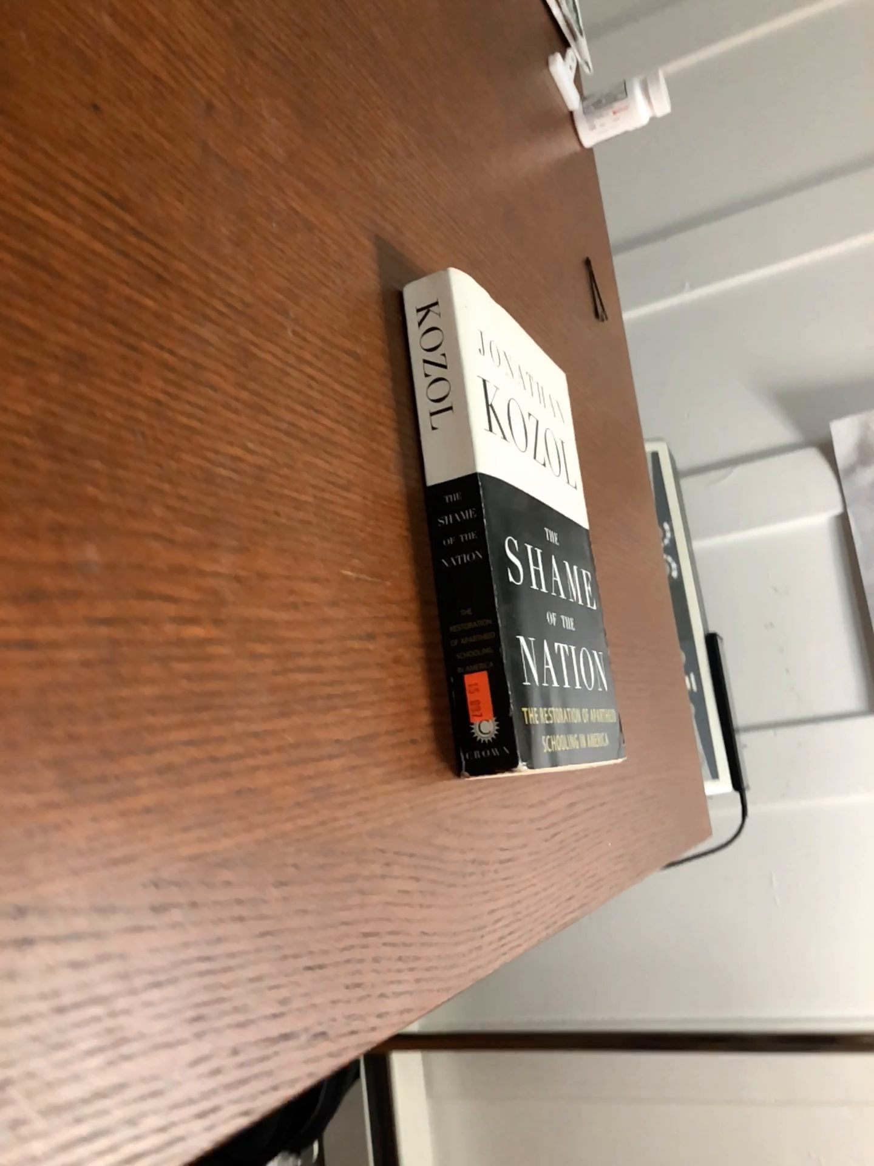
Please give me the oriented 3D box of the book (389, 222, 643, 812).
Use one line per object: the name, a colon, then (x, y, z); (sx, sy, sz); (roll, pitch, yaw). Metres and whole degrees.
book: (0.041, -0.019, 0.441); (0.161, 0.030, 0.230); (19, 62, -62)
